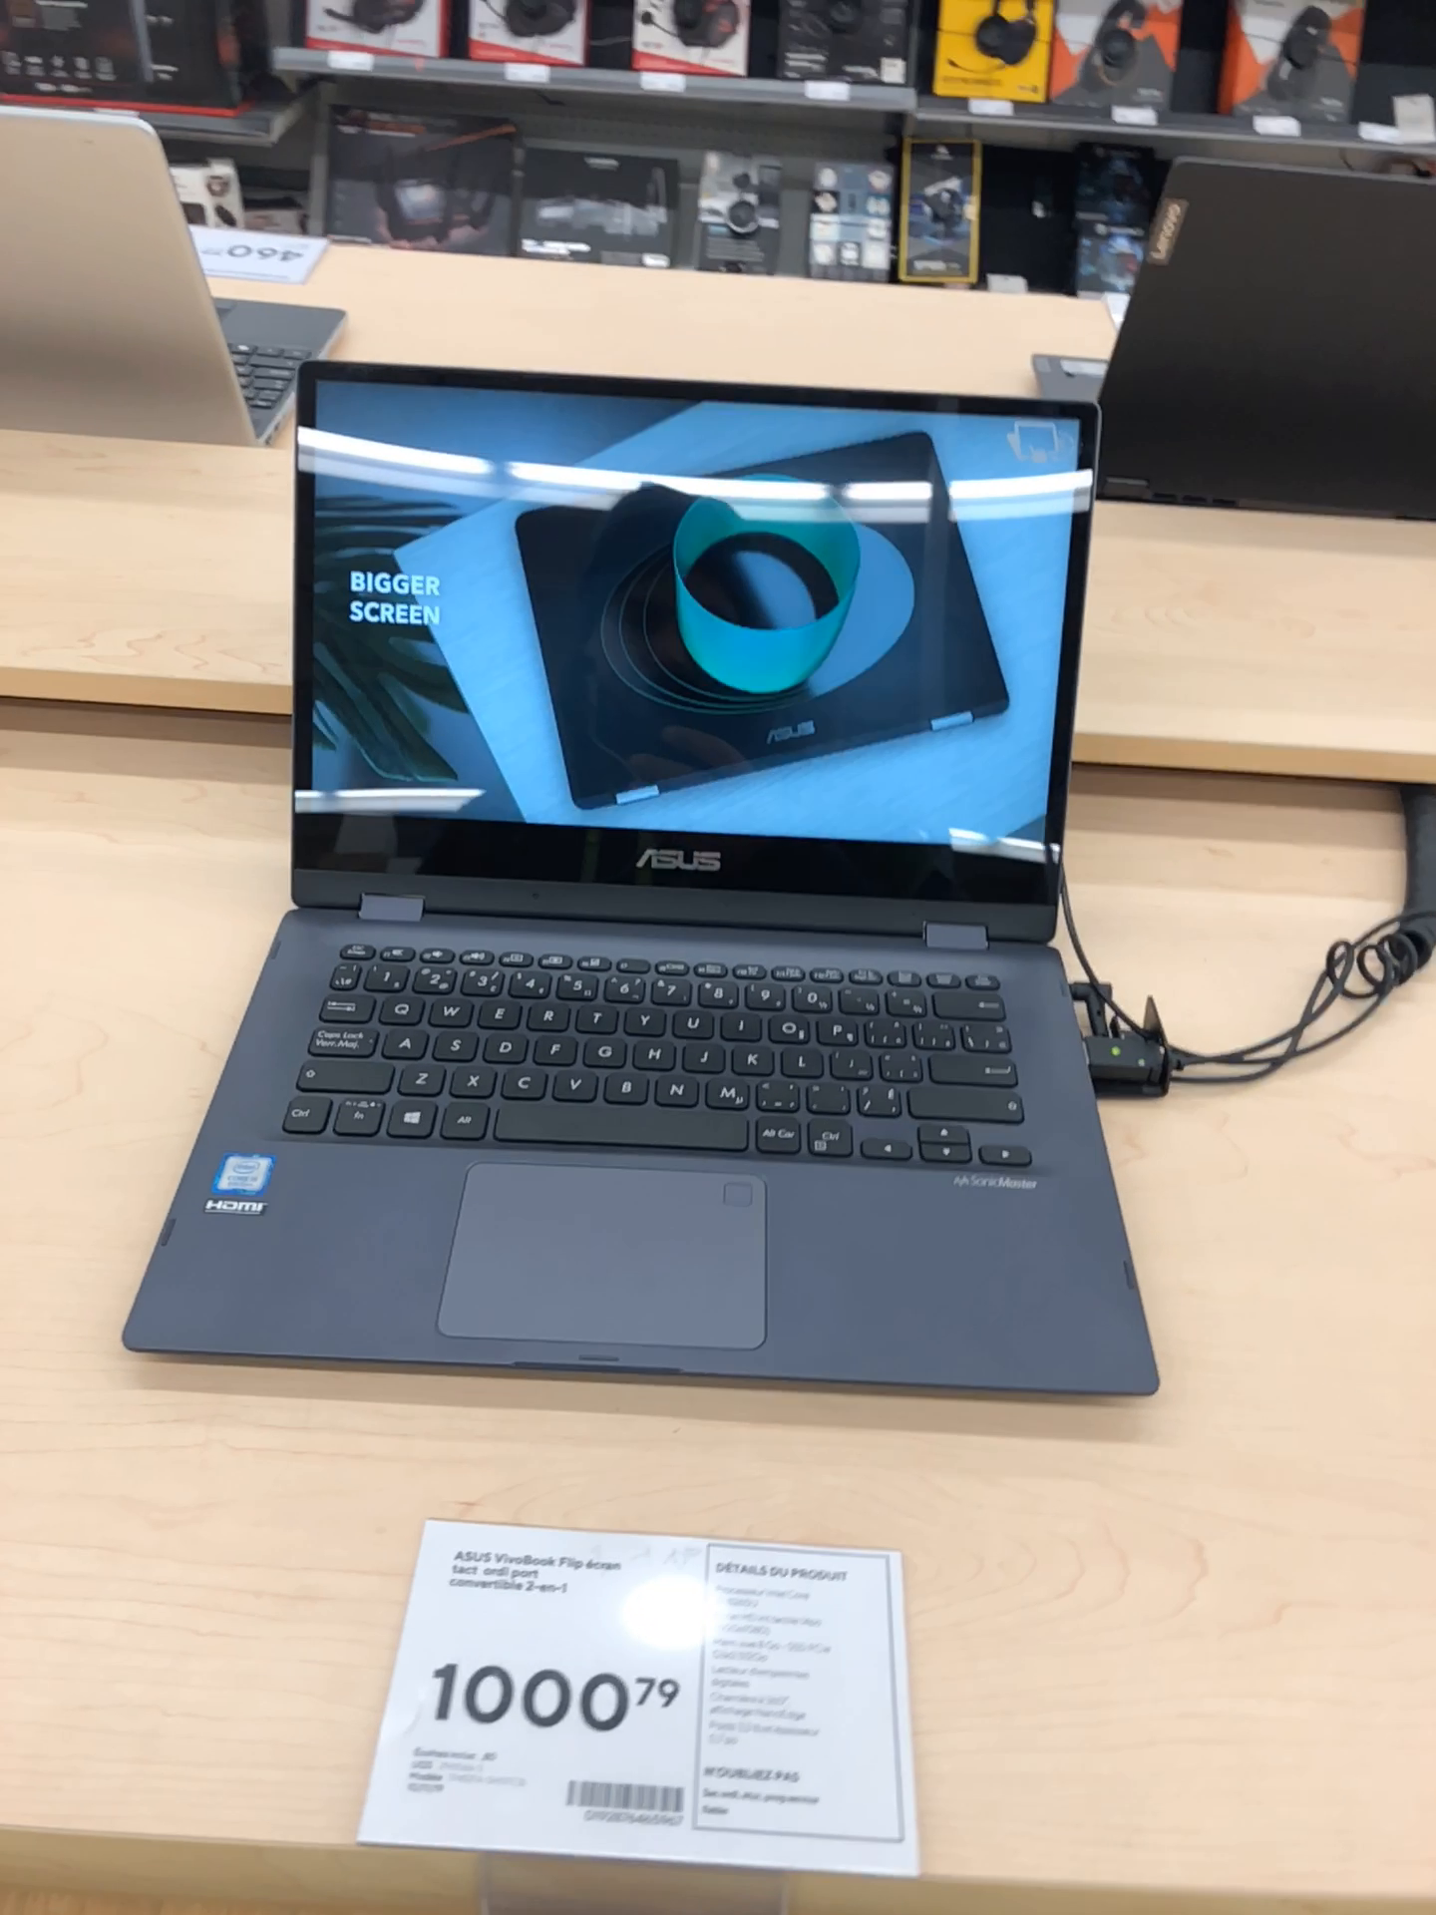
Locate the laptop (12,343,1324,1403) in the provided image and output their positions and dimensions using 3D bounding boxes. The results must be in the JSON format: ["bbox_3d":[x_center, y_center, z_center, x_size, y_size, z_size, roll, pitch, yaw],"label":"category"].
[{"bbox_3d":[-0.016,-0.052,0.567,0.319,0.184,0.332,4,41,-1],"label":"laptop"}]
